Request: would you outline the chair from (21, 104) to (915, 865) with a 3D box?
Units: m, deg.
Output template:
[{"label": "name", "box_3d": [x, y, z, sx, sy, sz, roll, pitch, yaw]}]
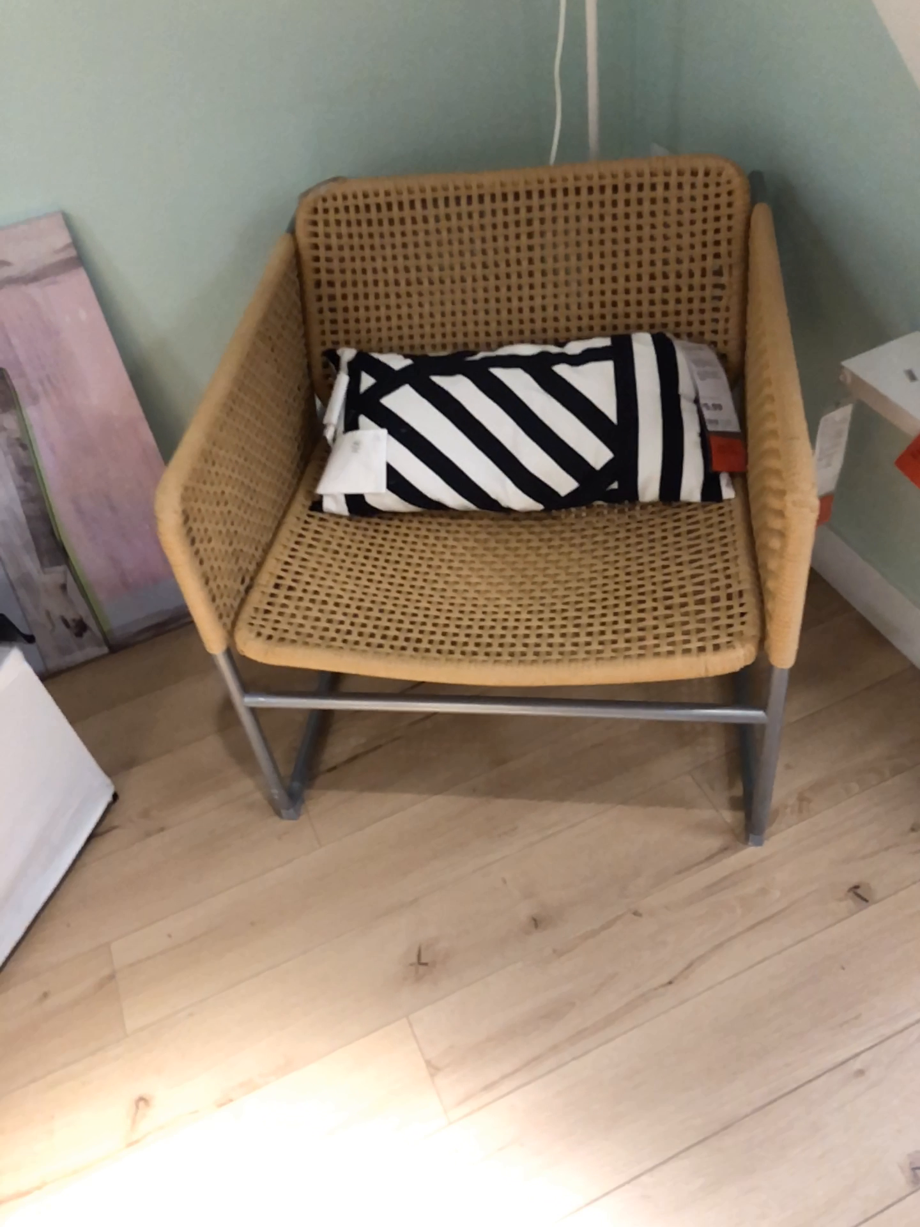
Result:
[{"label": "chair", "box_3d": [0.062, -0.178, 1.355, 0.790, 0.628, 0.752, 0, 47, 10]}]
